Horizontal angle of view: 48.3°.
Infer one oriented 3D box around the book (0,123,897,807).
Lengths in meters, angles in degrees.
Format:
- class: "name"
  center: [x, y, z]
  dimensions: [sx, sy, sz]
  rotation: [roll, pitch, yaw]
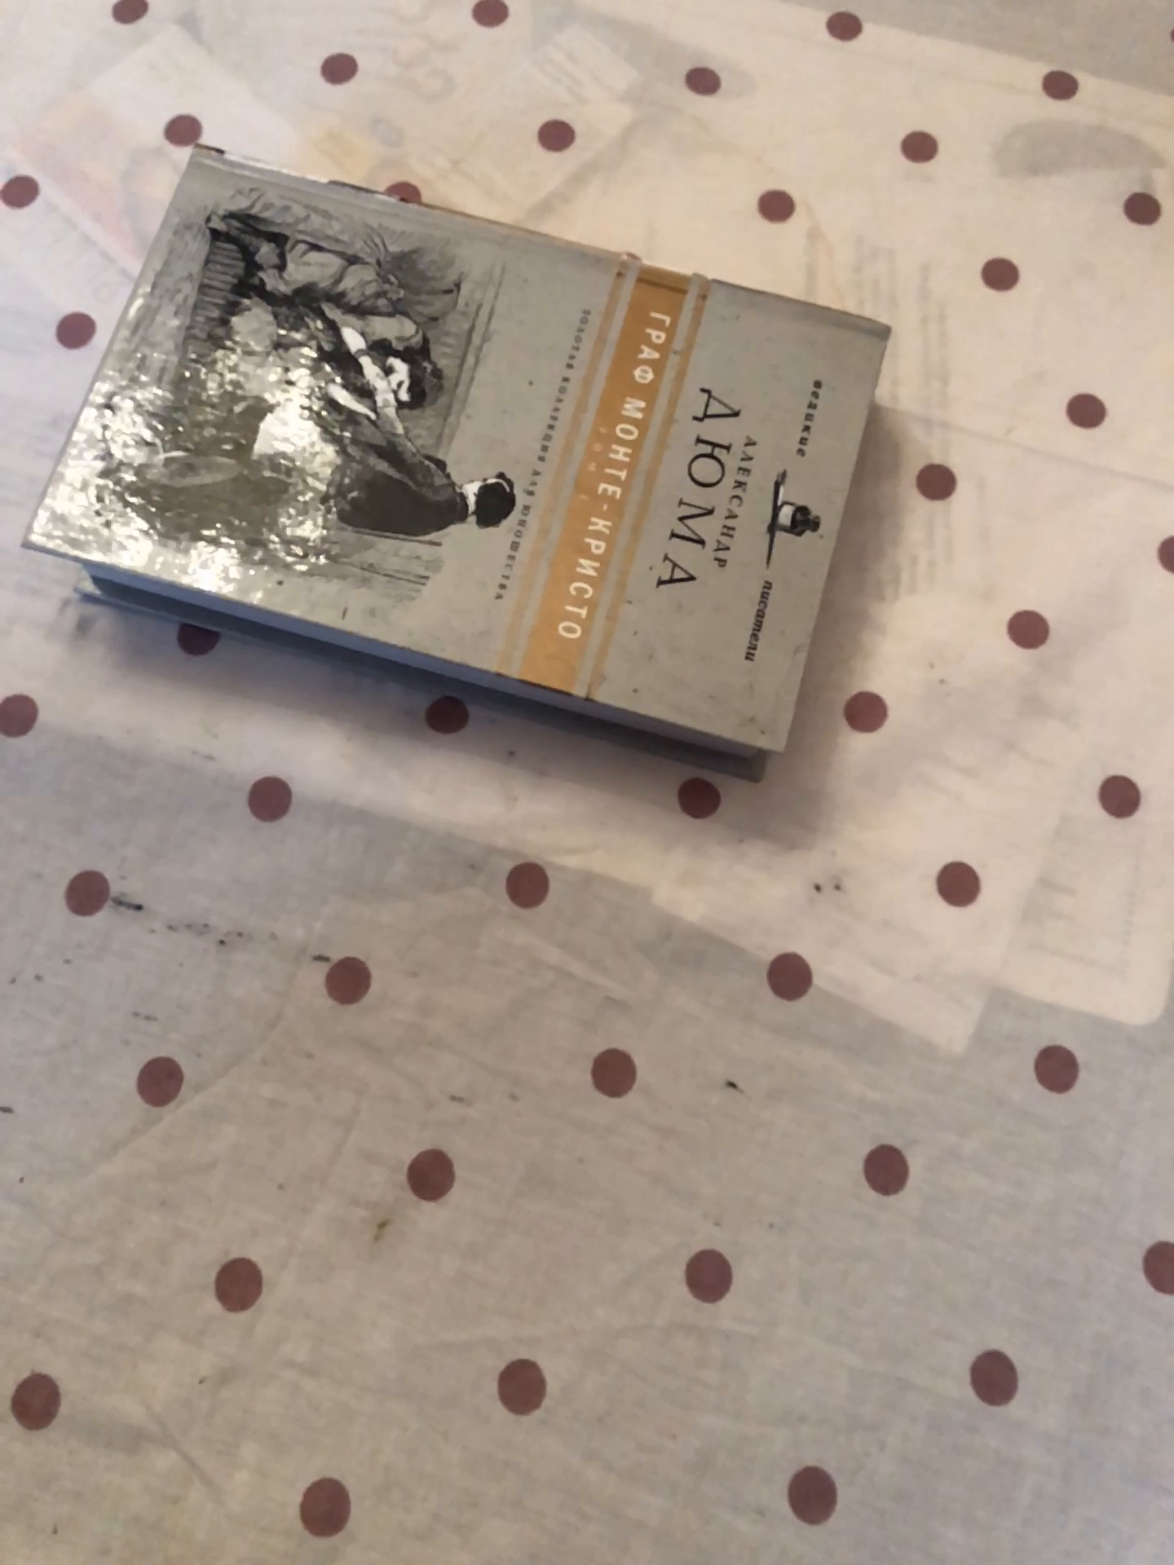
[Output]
- class: "book"
  center: [-0.034, -0.089, 0.362]
  dimensions: [0.208, 0.040, 0.135]
  rotation: [15, 74, 3]
